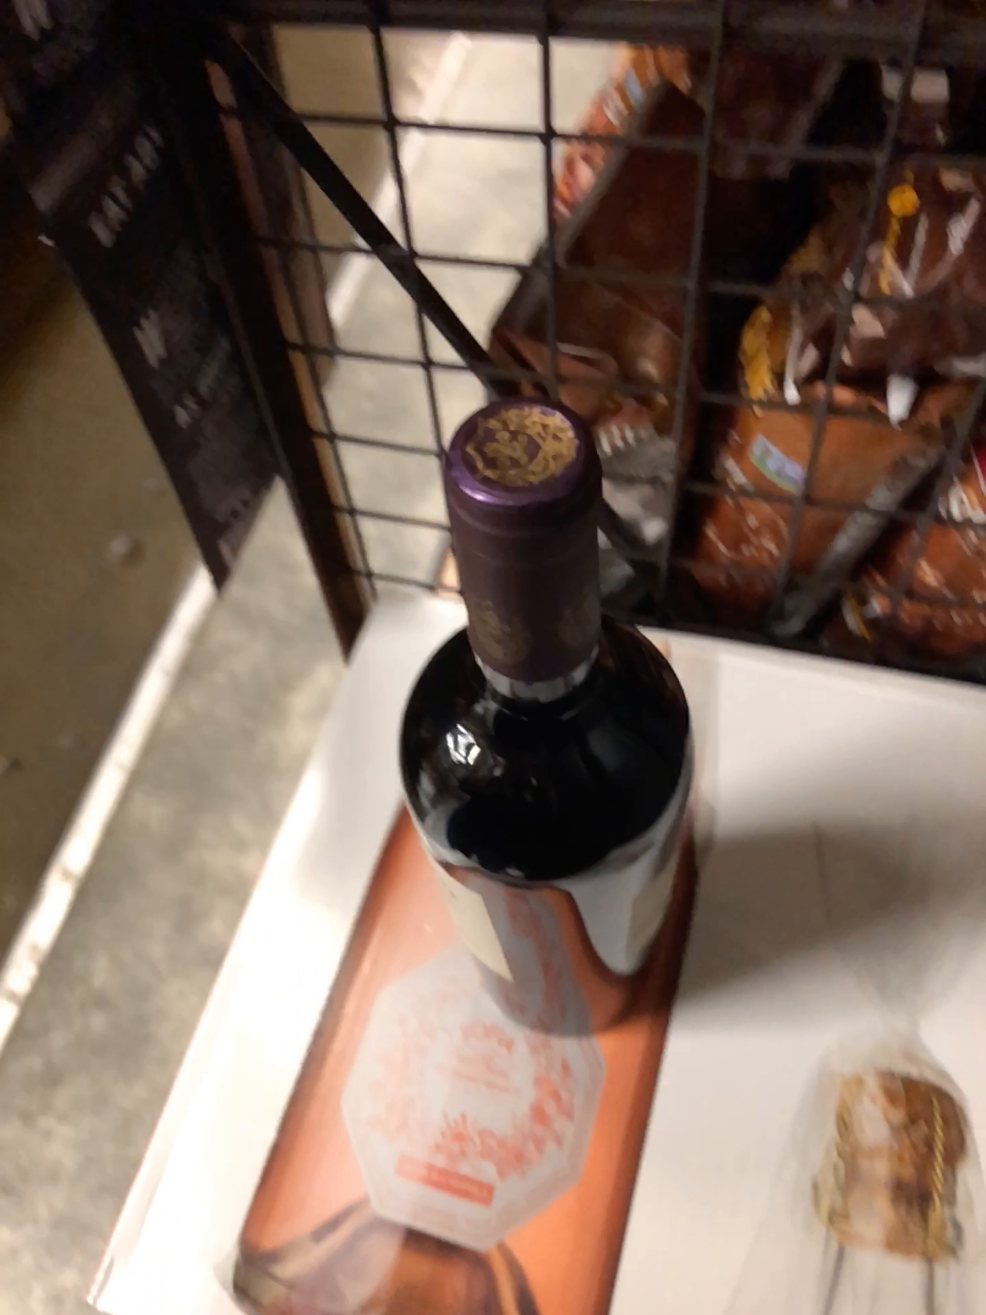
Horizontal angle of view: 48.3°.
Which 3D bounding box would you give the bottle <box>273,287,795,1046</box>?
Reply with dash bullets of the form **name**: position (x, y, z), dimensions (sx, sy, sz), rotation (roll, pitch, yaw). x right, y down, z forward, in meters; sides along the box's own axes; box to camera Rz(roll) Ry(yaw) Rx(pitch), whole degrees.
- **bottle**: position (0.017, 0.038, 0.320), dimensions (0.085, 0.291, 0.073), rotation (0, 57, 4)
